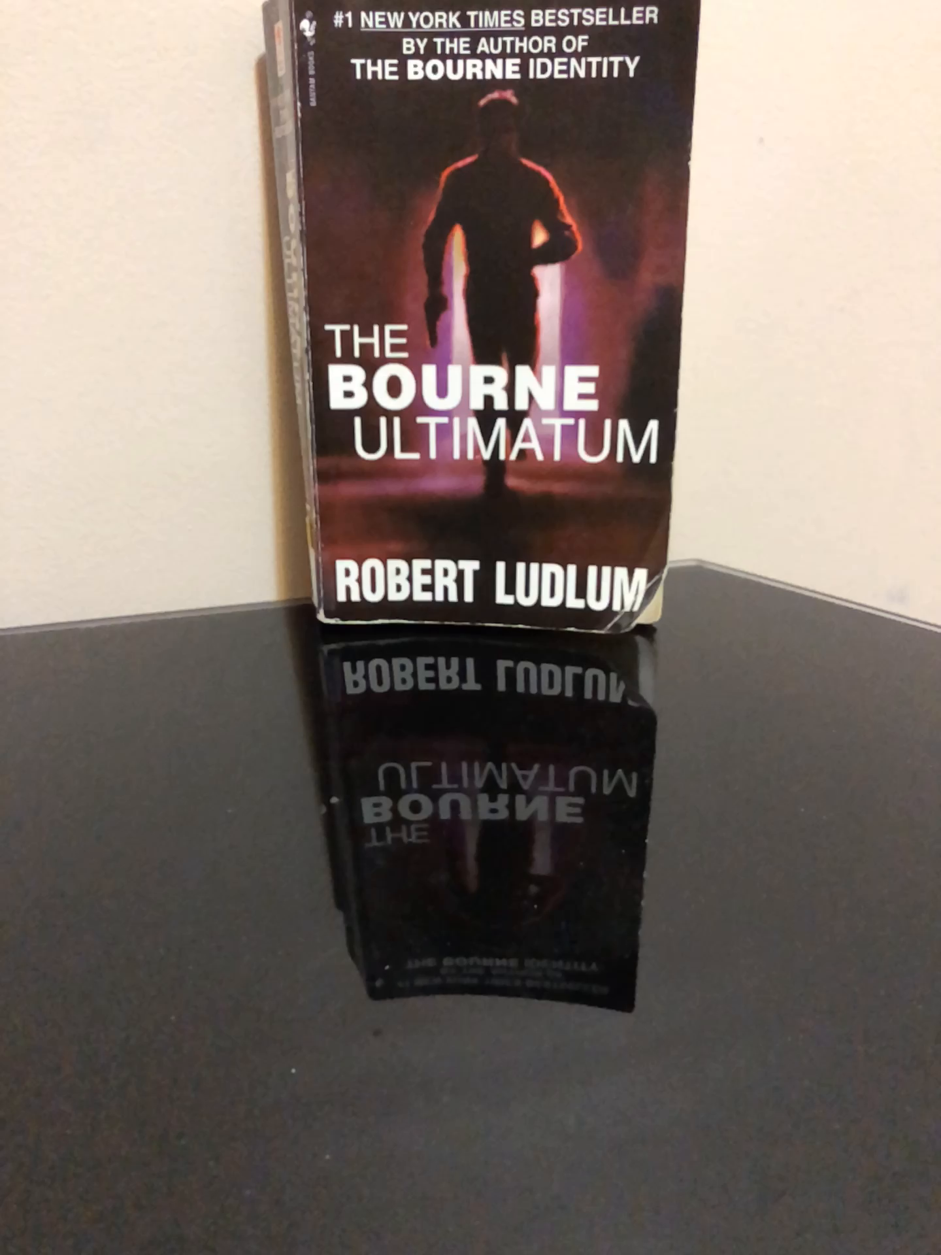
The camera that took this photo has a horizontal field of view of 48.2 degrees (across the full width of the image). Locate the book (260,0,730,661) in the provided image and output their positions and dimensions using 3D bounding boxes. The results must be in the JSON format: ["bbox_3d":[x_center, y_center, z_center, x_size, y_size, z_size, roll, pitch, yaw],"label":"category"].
[{"bbox_3d":[0.009,-0.093,0.326,0.120,0.189,0.070,-2,15,-1],"label":"book"}]
